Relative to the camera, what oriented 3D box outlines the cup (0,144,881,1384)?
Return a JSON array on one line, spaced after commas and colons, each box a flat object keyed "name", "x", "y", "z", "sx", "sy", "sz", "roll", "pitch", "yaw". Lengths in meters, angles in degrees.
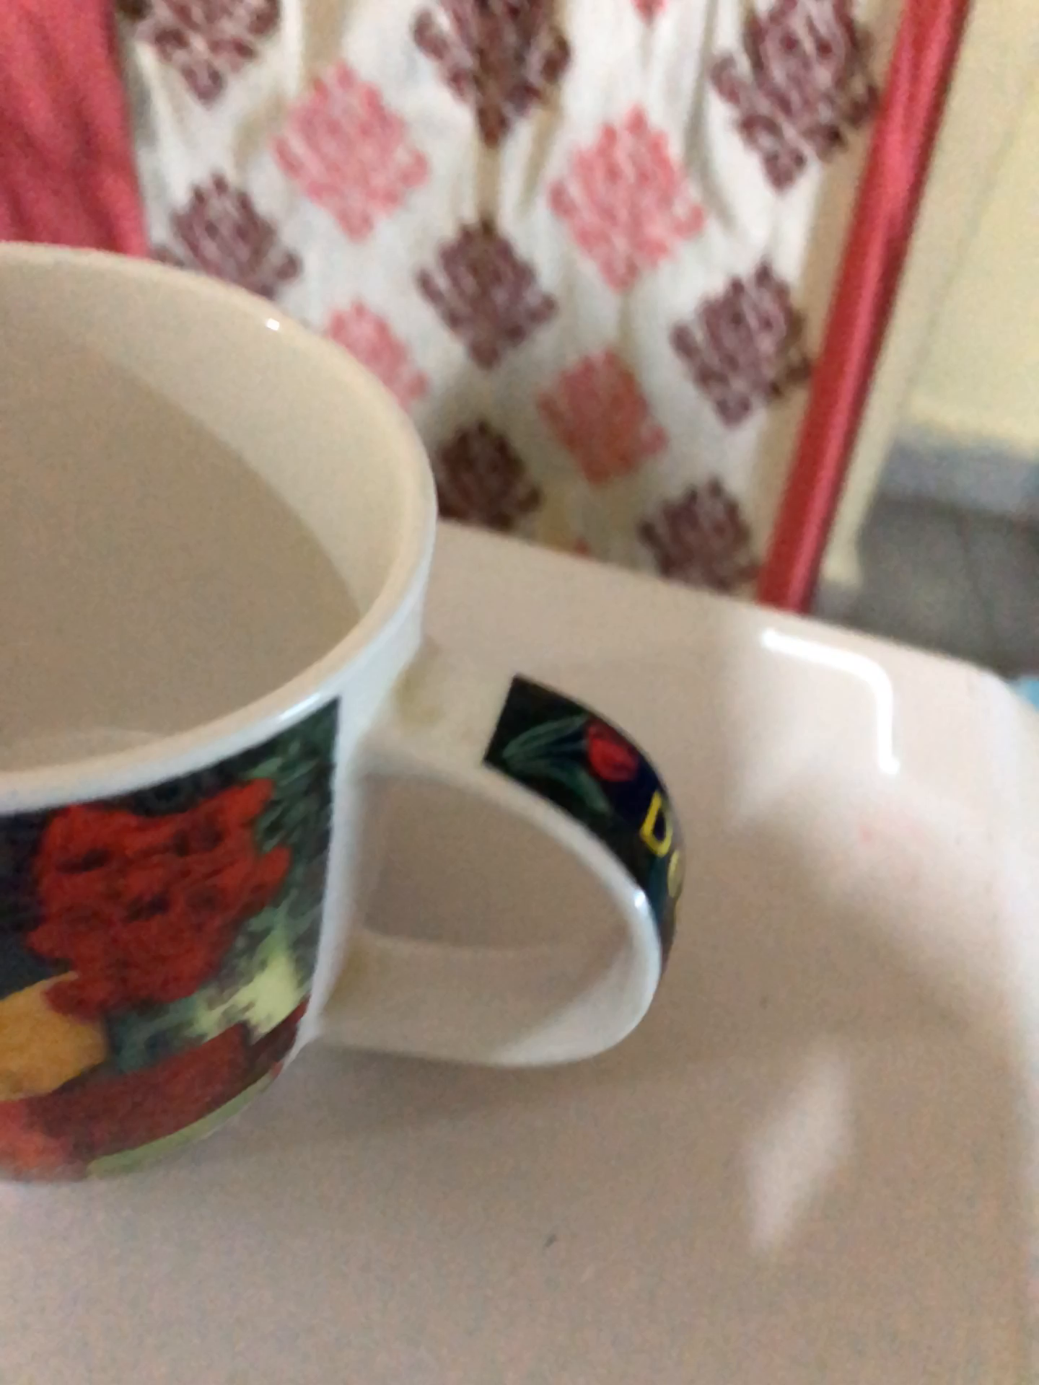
[{"name": "cup", "x": -0.041, "y": 0.014, "z": 0.137, "sx": 0.130, "sy": 0.099, "sz": 0.081, "roll": 17, "pitch": 42, "yaw": 6}]
